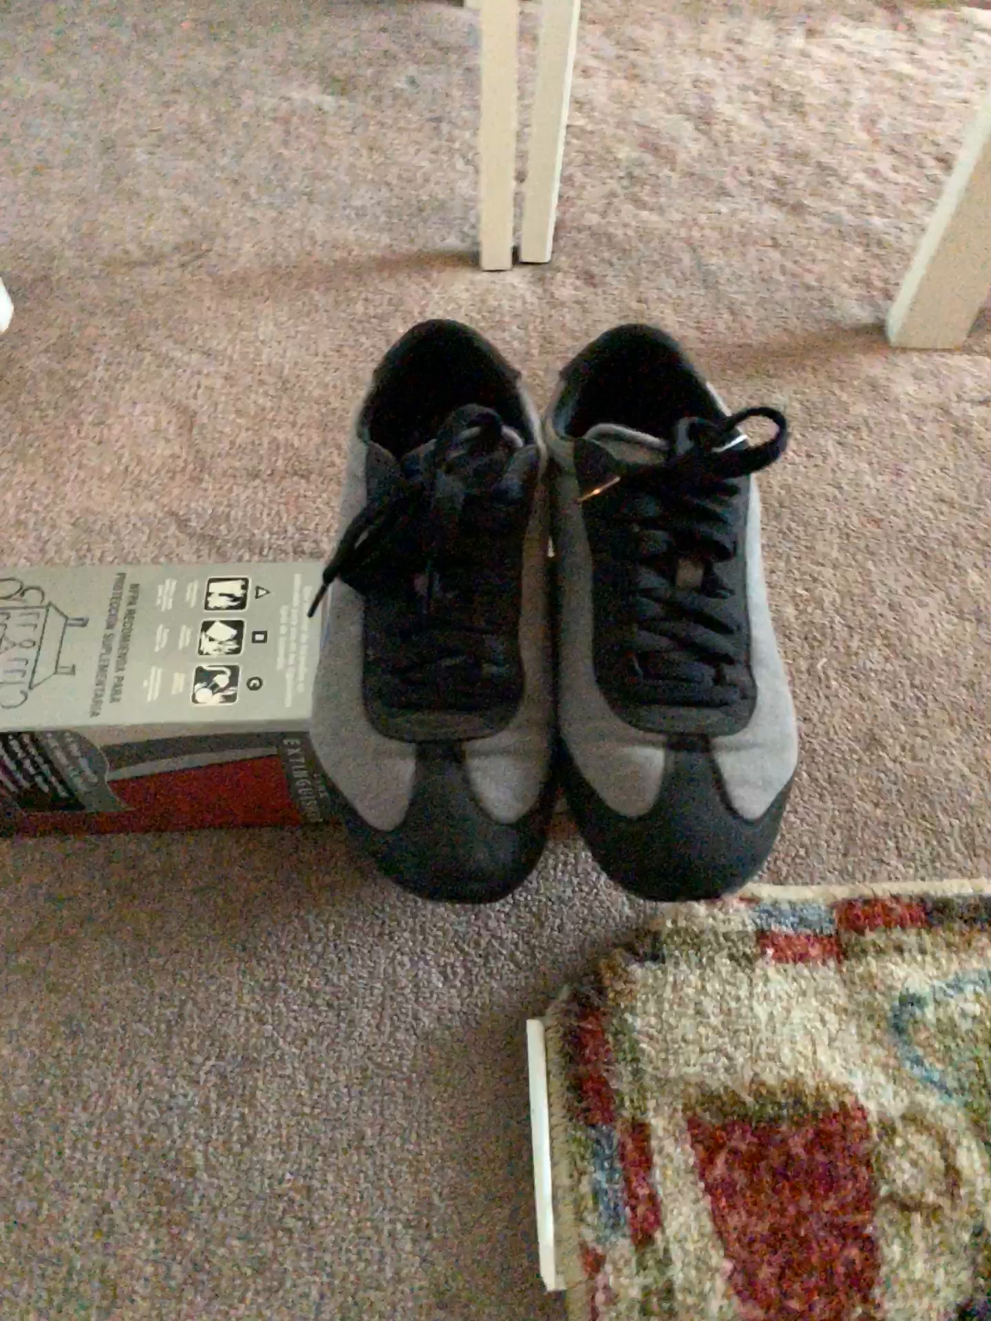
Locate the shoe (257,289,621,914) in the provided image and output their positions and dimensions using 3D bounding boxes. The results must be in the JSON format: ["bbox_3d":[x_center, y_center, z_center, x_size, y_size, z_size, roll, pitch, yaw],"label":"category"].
[{"bbox_3d":[-0.023,-0.032,0.400,0.110,0.077,0.242,-1,60,-4],"label":"shoe"}]

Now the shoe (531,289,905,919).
[{"bbox_3d":[0.072,-0.033,0.412,0.100,0.077,0.252,-3,58,1],"label":"shoe"}]
